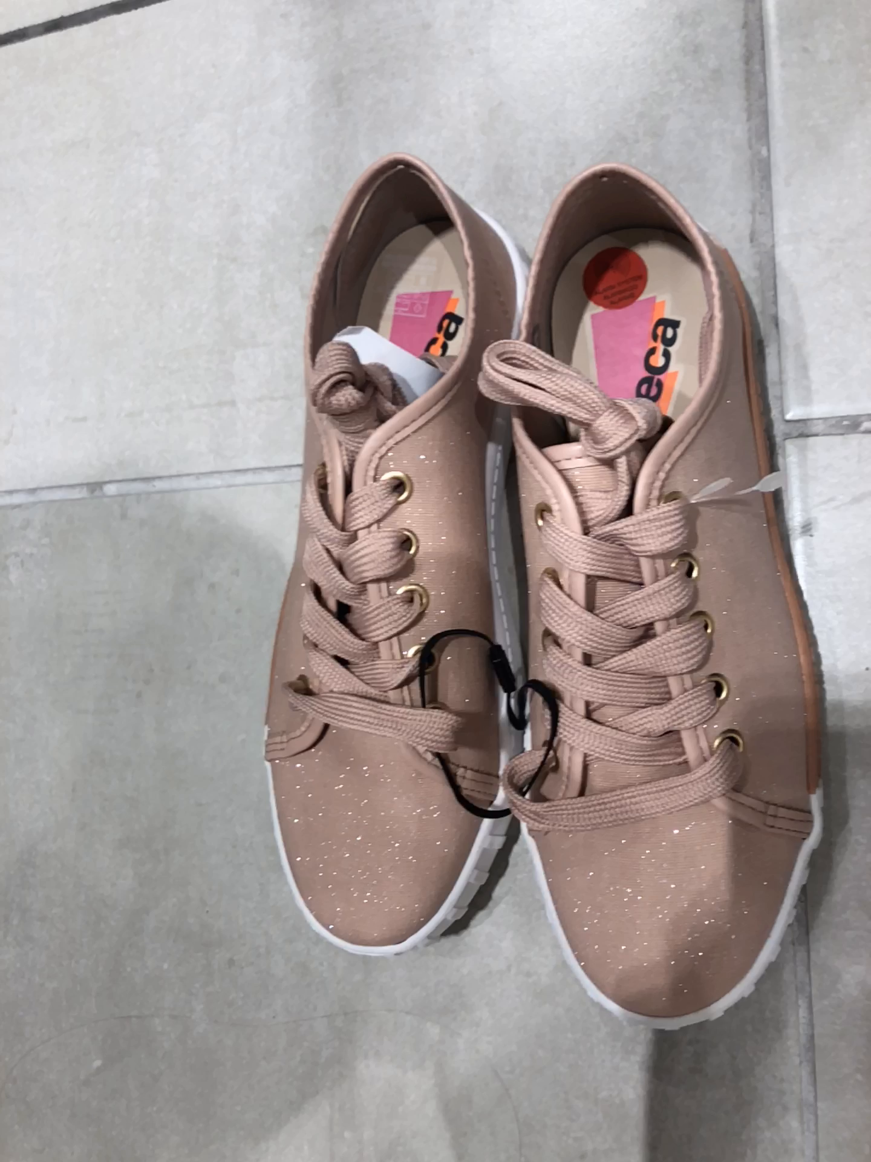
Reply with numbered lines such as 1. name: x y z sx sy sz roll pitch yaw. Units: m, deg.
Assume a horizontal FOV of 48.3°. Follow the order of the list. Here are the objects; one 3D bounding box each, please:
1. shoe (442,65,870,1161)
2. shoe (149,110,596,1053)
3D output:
1. shoe: 0.063 0.009 0.270 0.090 0.100 0.240 -3 83 18
2. shoe: -0.010 -0.002 0.308 0.090 0.100 0.240 3 86 19
